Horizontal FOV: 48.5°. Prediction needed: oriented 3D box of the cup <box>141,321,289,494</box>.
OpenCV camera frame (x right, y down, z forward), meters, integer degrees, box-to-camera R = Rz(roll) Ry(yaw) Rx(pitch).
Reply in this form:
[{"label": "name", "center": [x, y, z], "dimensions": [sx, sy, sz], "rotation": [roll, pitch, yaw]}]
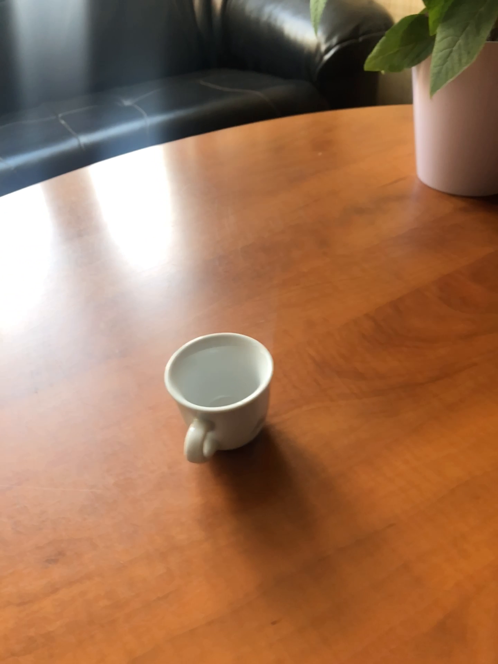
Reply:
[{"label": "cup", "center": [-0.014, 0.041, 0.323], "dimensions": [0.065, 0.050, 0.083], "rotation": [3, 41, 10]}]
